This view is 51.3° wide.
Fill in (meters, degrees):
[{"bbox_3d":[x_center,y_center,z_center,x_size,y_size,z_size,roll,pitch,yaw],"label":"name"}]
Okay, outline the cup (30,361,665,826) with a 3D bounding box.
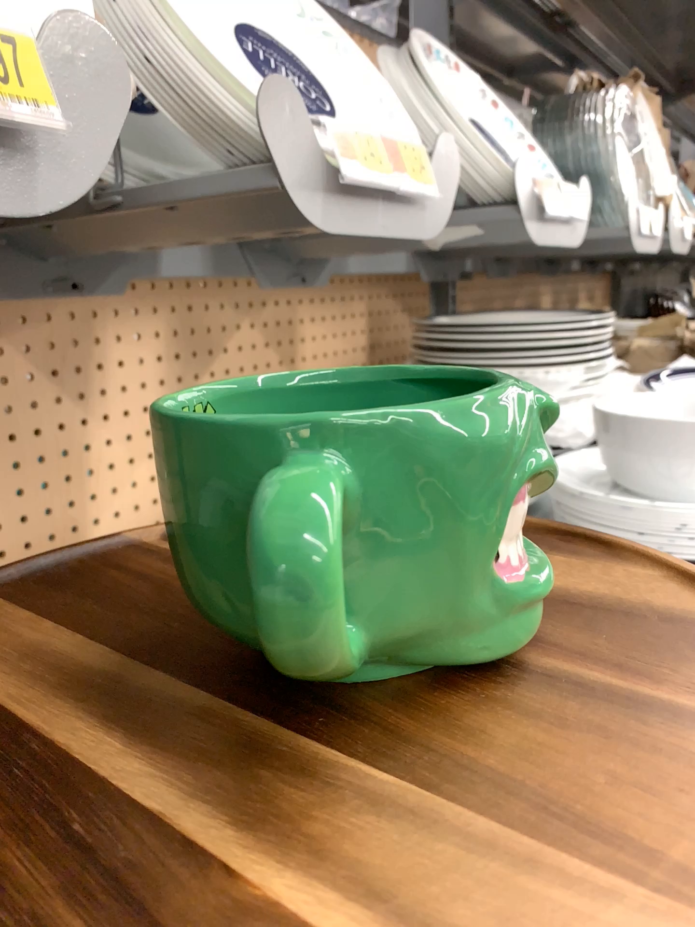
[{"bbox_3d":[0.005,0.023,0.226,0.130,0.090,0.140,-3,13,1],"label":"cup"}]
